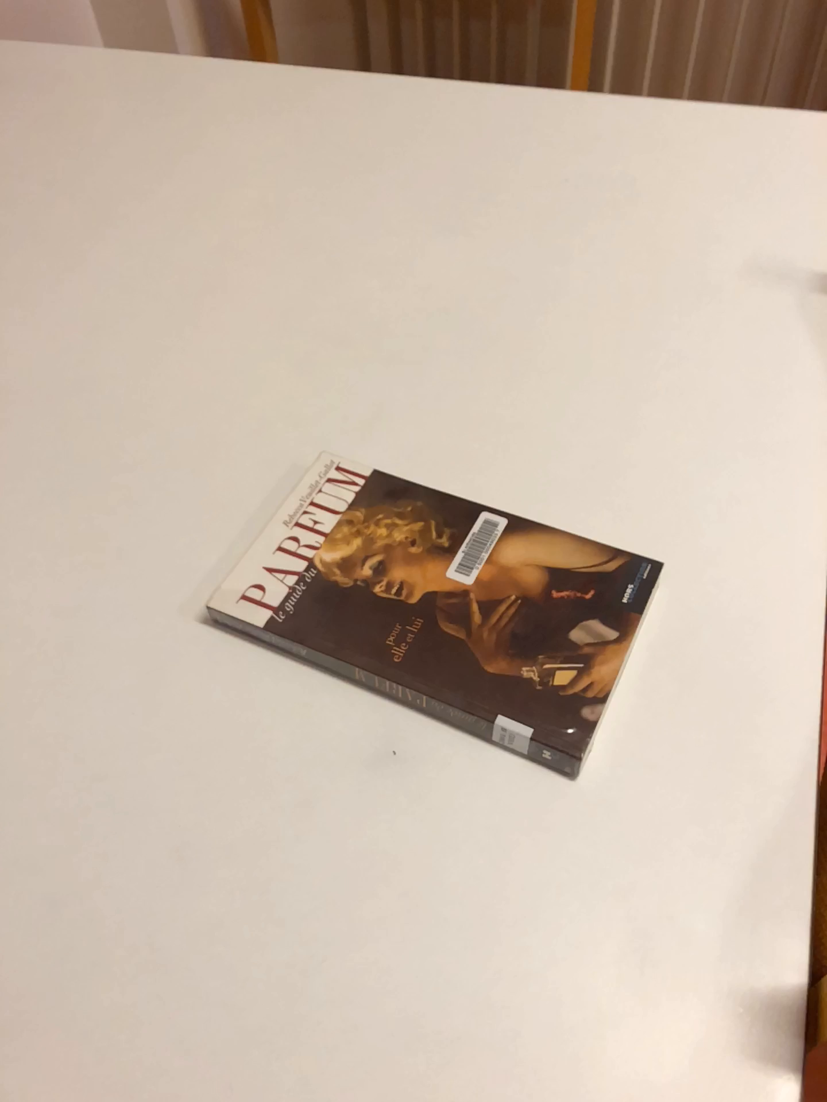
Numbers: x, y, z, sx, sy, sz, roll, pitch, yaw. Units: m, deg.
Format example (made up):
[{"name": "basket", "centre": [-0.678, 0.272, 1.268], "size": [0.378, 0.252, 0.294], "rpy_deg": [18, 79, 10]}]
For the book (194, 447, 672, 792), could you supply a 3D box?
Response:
[{"name": "book", "centre": [0.012, 0.024, 0.477], "size": [0.210, 0.020, 0.134], "rpy_deg": [18, 55, 18]}]
